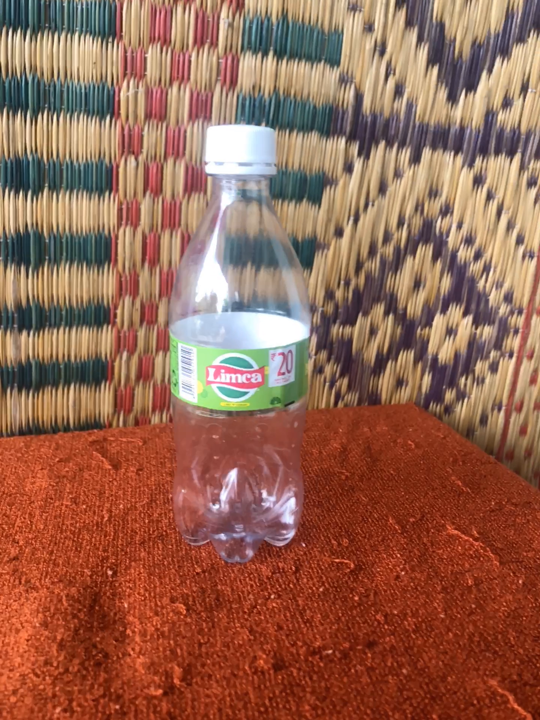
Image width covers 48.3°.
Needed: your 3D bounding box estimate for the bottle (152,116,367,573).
[{"bbox_3d":[-0.012,-0.006,0.221,0.060,0.149,0.060,4,19,-1],"label":"bottle"}]
